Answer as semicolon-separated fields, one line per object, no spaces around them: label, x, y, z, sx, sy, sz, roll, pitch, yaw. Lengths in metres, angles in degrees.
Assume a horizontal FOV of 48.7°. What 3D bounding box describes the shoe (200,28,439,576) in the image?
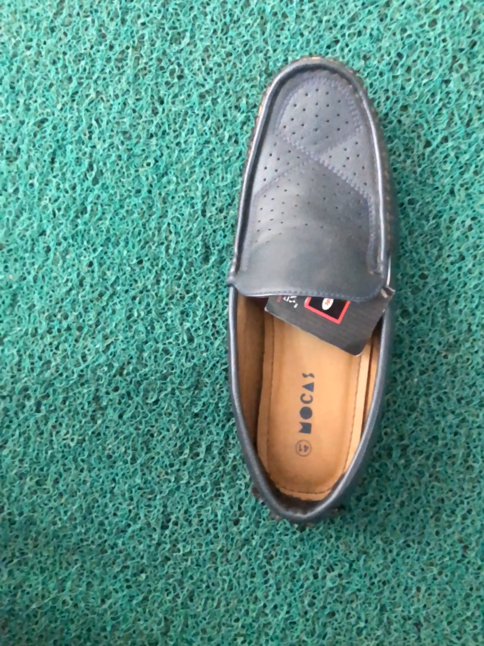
shoe;0.044;-0.014;0.316;0.100;0.070;0.280;5;90;7
